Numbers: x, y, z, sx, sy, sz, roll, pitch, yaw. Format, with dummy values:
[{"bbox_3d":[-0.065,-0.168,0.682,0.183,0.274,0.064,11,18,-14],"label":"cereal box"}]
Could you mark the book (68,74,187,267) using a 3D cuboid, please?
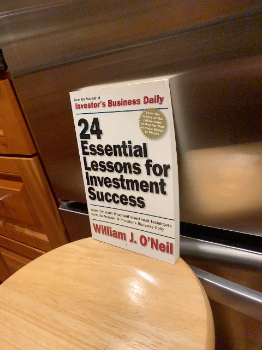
[{"bbox_3d":[-0.006,-0.005,0.368,0.150,0.229,0.030,6,20,38],"label":"book"}]
